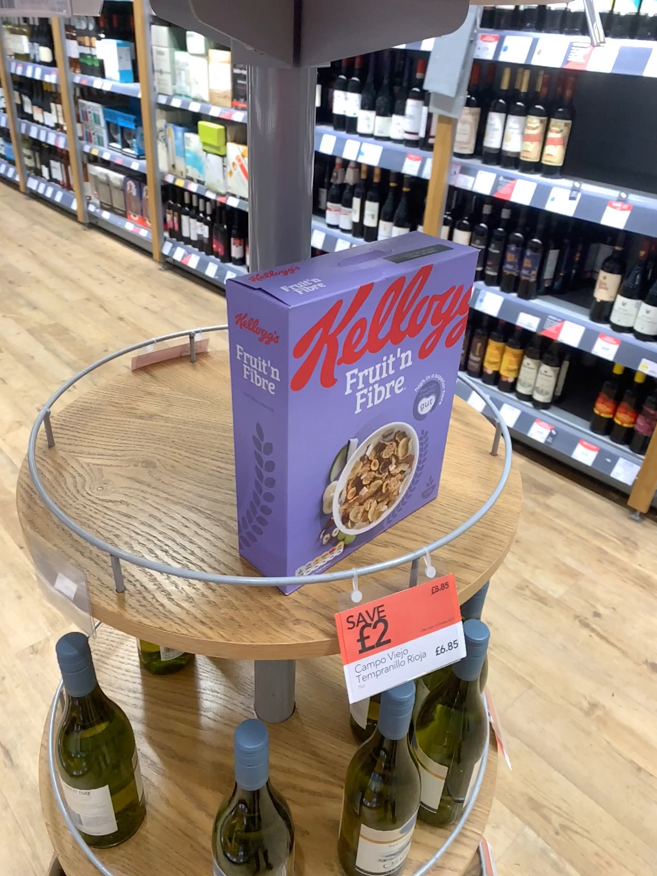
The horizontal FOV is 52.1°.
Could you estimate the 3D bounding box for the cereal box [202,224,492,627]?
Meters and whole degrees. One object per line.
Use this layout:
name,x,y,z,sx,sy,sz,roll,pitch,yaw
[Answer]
cereal box,0.015,-0.016,0.501,0.201,0.238,0.070,-26,42,-38
